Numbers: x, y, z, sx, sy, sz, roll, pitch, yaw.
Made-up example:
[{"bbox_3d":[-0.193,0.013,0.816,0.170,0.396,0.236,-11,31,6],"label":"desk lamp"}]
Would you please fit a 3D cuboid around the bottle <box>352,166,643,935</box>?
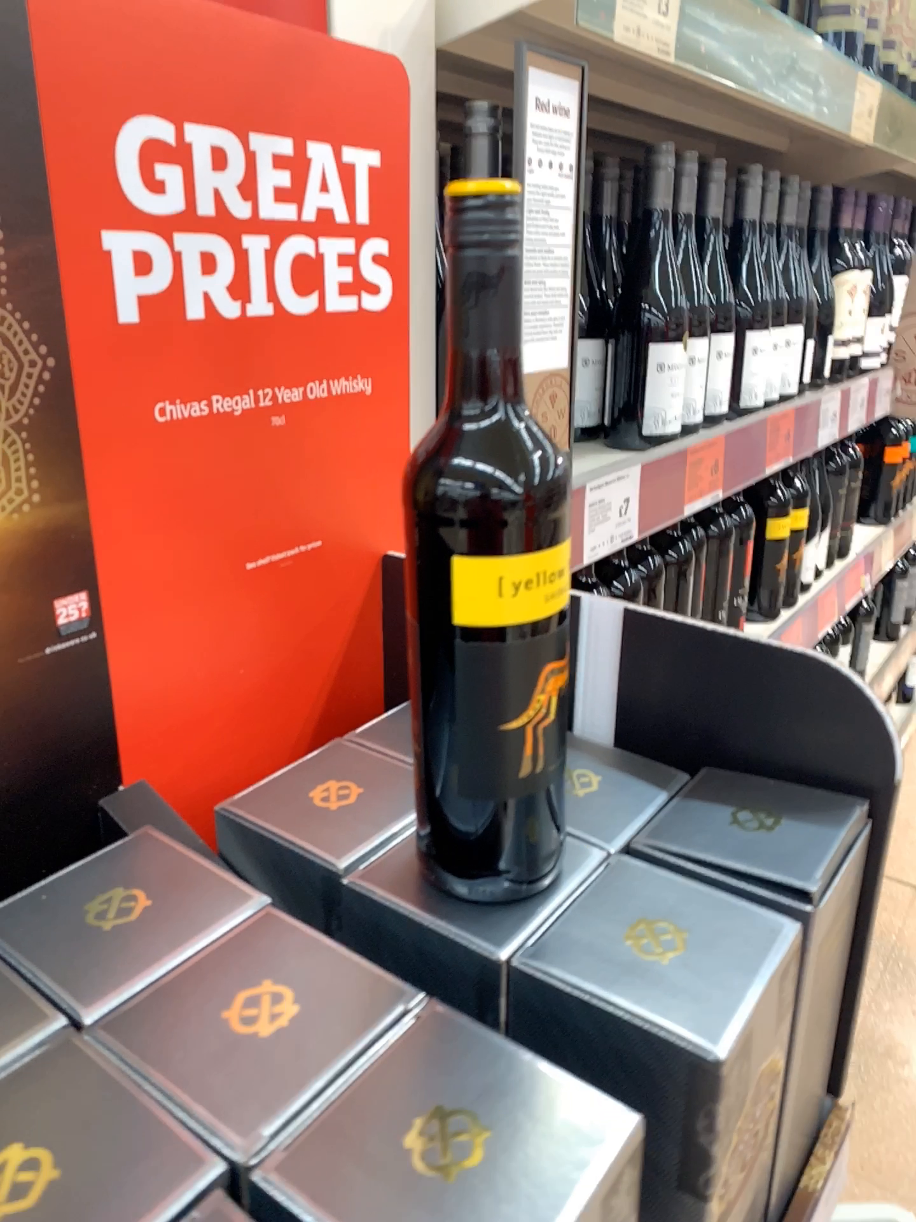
[{"bbox_3d":[0.015,-0.023,0.414,0.081,0.308,0.087,1,20,0],"label":"bottle"}]
